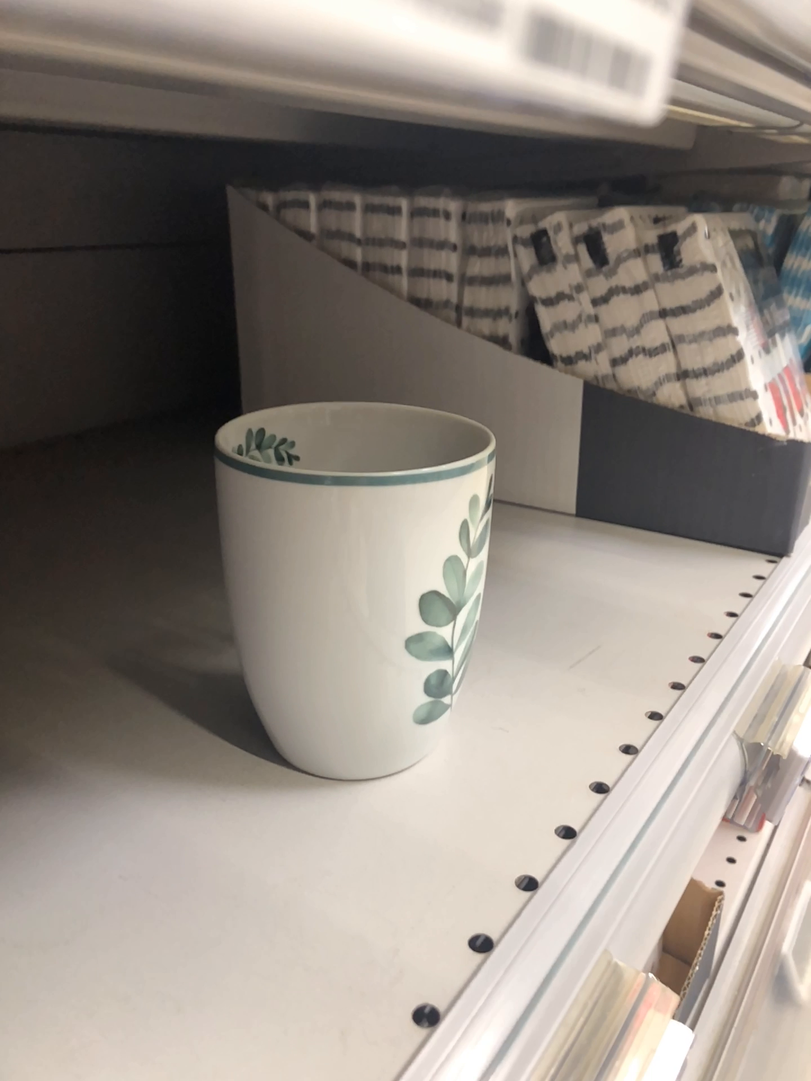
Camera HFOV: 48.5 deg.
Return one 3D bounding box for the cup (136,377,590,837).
[{"bbox_3d":[-0.008,0.008,0.286,0.082,0.093,0.117,16,25,32],"label":"cup"}]
